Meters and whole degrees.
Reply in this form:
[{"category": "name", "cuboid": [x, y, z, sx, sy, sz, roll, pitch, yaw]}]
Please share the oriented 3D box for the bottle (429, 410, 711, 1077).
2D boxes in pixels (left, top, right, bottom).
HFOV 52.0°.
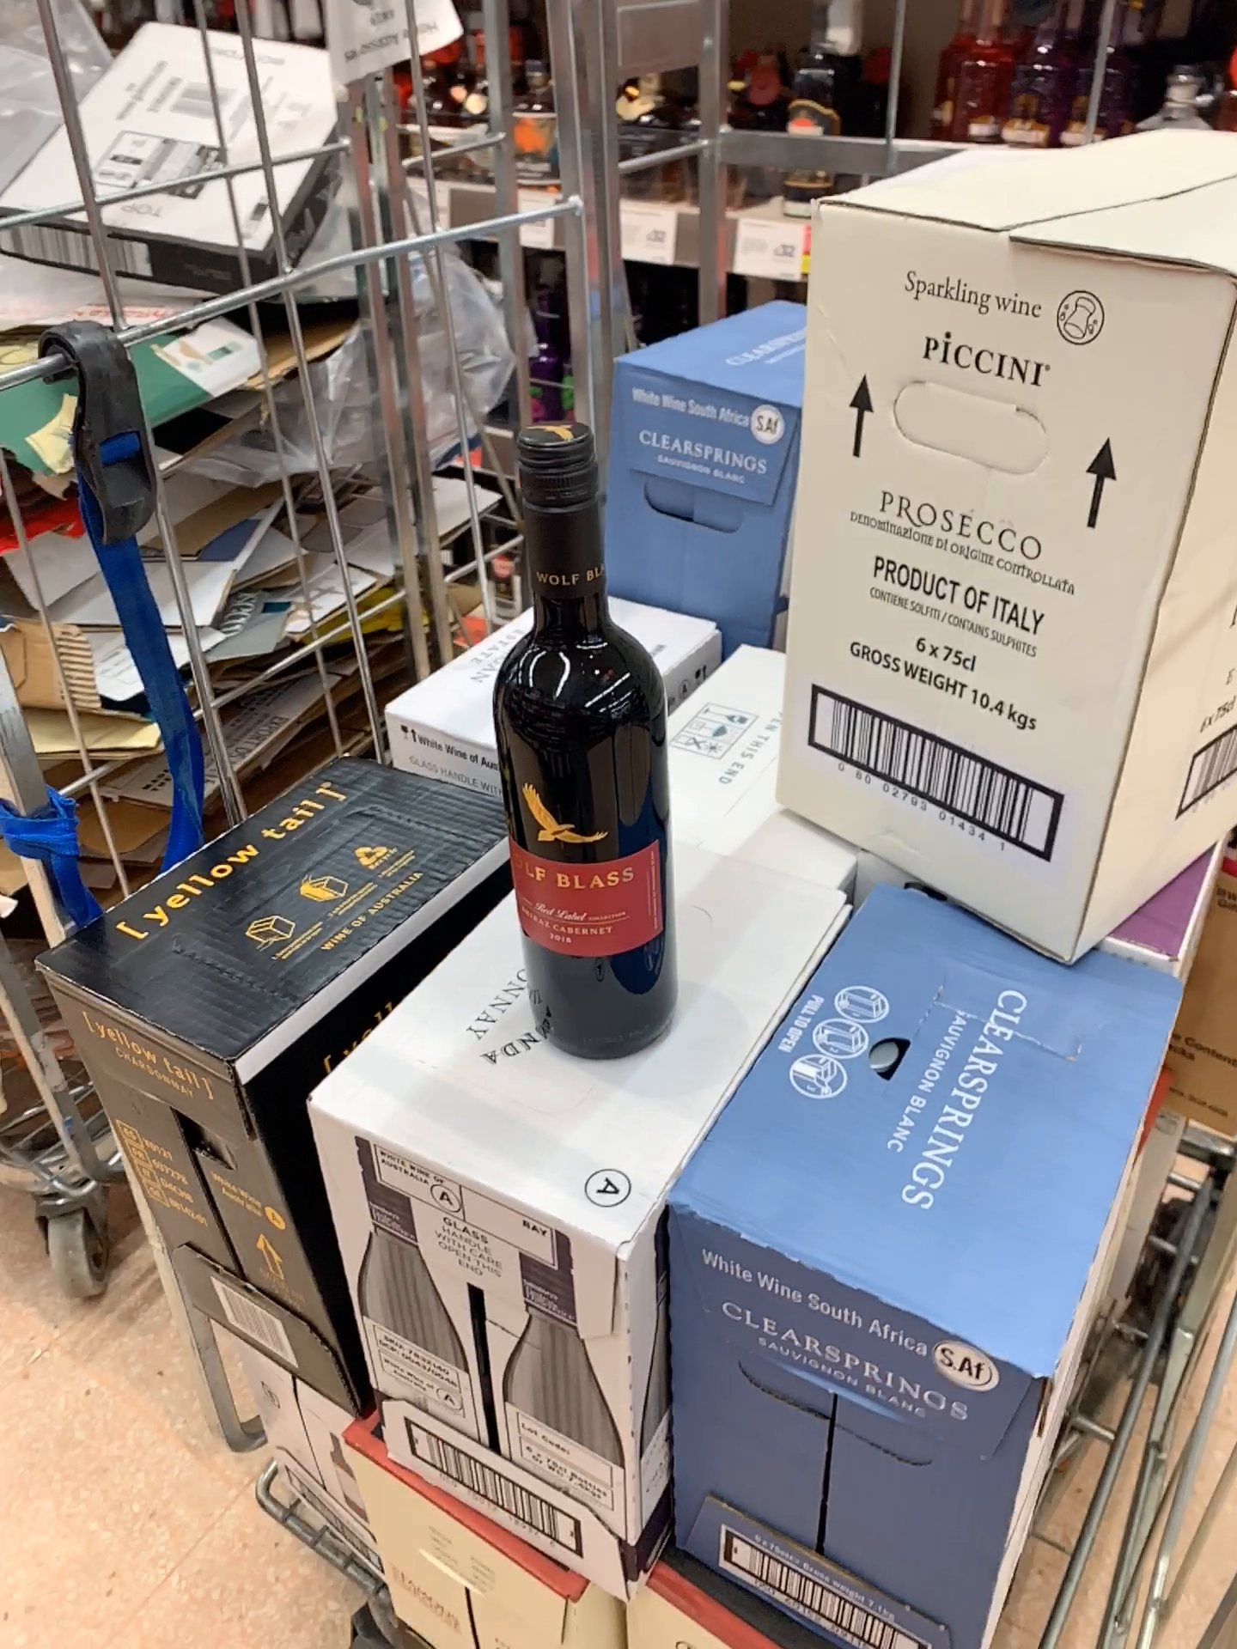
[{"category": "bottle", "cuboid": [-0.014, -0.025, 0.540, 0.080, 0.270, 0.076, -1, 35, 0]}]
